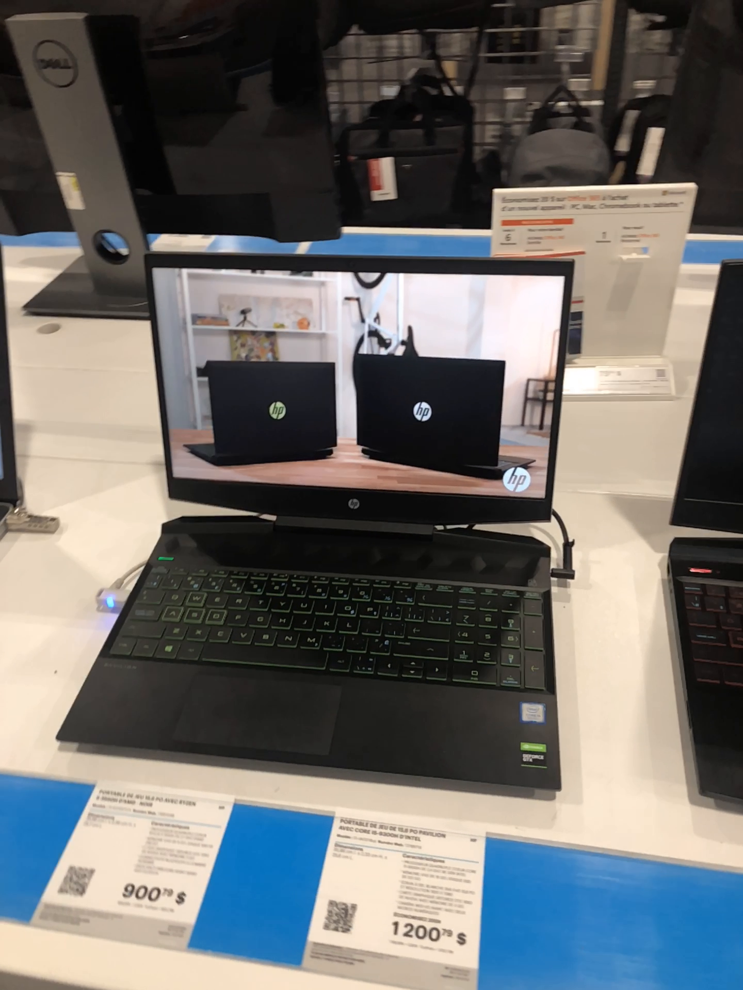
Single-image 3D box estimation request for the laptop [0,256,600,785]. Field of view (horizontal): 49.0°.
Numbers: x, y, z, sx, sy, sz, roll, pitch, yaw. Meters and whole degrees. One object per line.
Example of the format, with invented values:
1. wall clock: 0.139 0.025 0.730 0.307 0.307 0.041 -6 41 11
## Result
1. laptop: -0.037 -0.005 0.622 0.355 0.232 0.317 3 37 6
